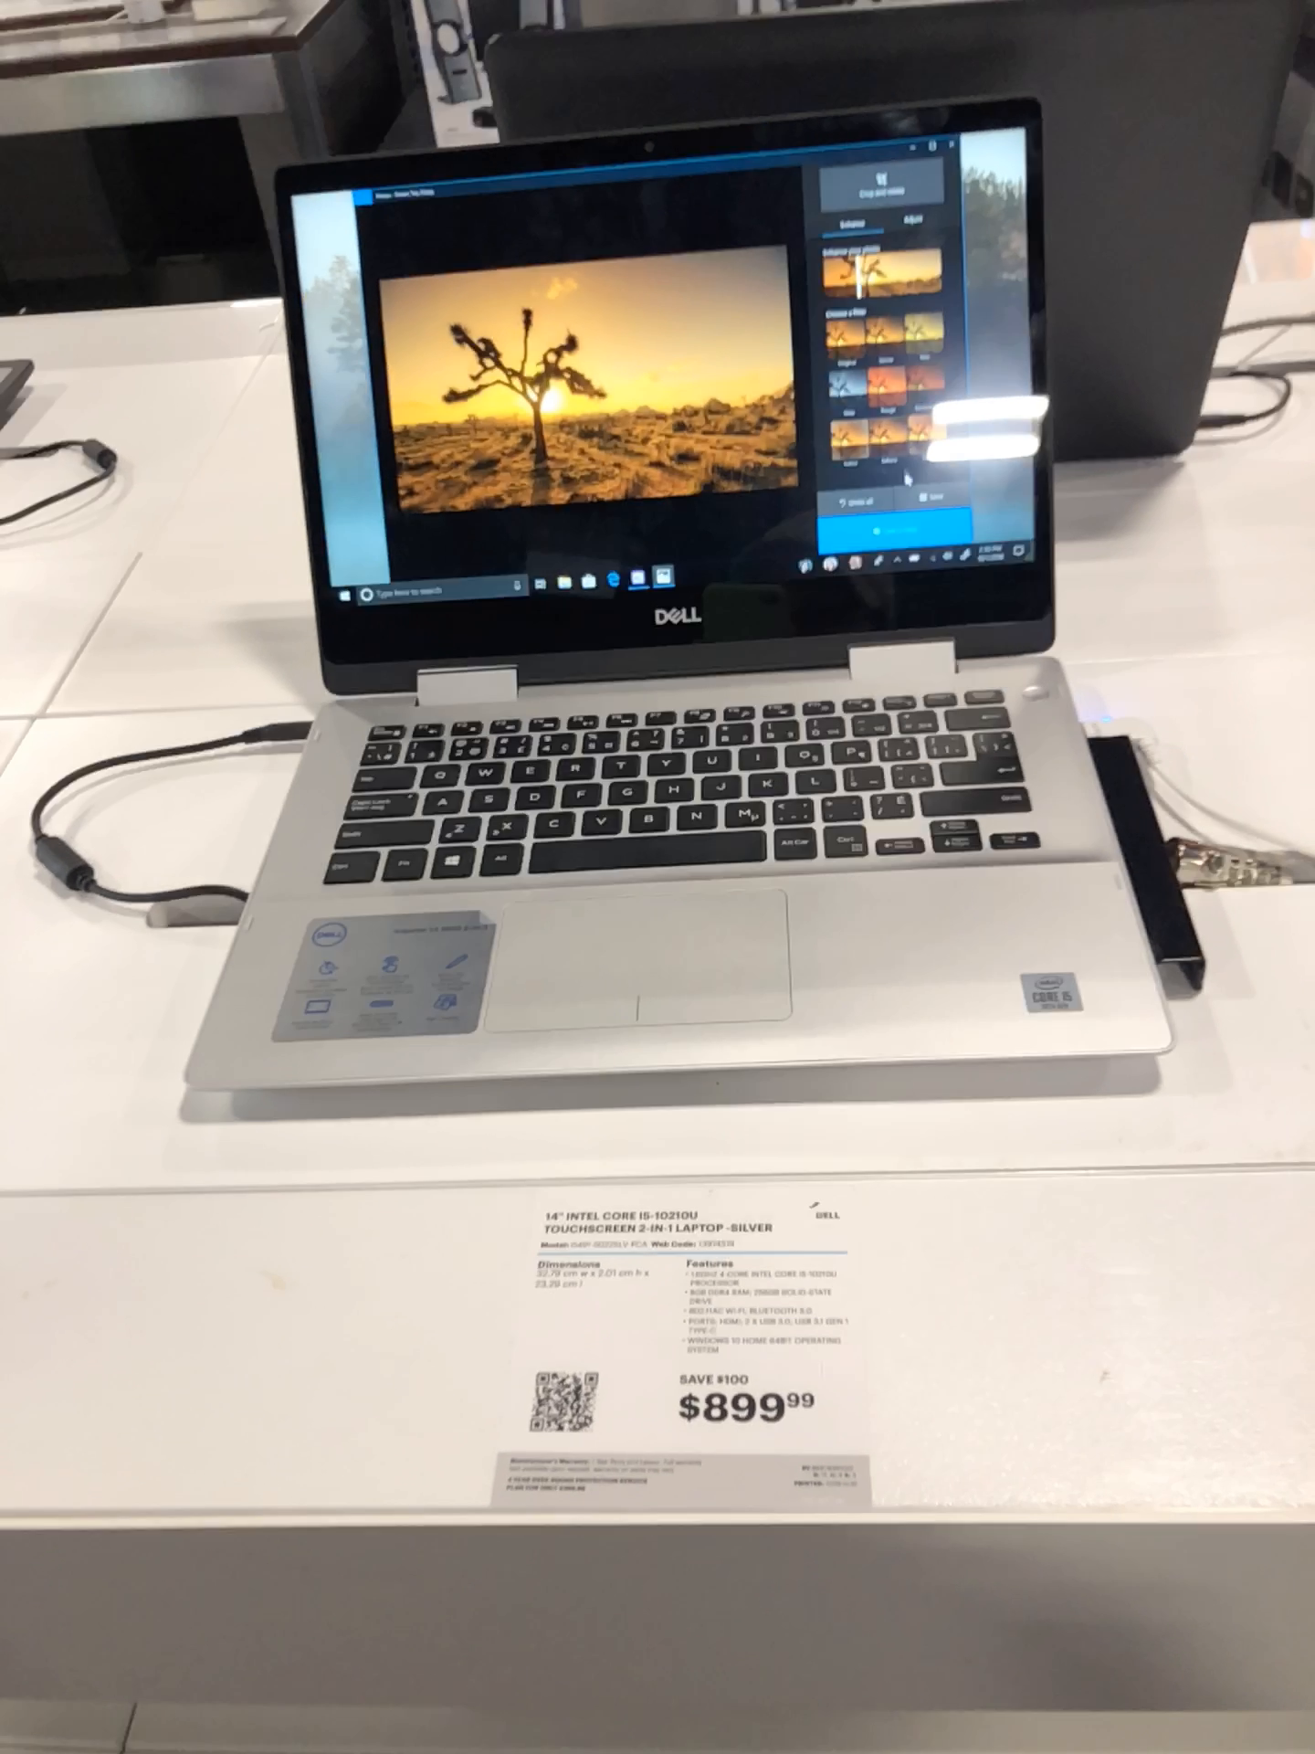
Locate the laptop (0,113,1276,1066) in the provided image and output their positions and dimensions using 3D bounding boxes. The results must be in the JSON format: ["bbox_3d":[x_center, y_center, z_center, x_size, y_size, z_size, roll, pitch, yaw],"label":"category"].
[{"bbox_3d":[-0.002,-0.118,0.528,0.311,0.195,0.328,-3,39,7],"label":"laptop"}]
